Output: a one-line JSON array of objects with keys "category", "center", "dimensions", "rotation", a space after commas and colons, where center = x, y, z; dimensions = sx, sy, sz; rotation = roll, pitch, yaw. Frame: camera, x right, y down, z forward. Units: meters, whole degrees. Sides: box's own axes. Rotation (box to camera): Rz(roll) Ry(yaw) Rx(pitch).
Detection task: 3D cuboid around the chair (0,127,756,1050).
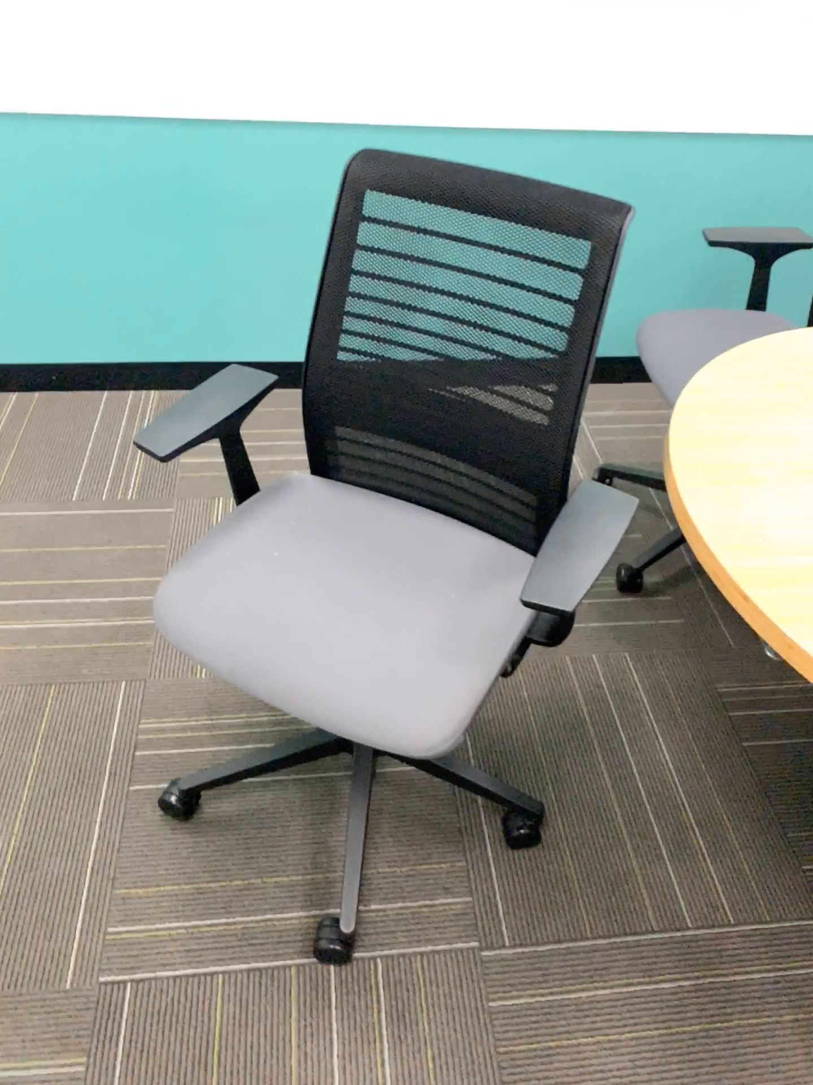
[{"category": "chair", "center": [-0.023, 0.034, 1.323], "dimensions": [0.731, 0.984, 0.844], "rotation": [18, 43, 15]}]
